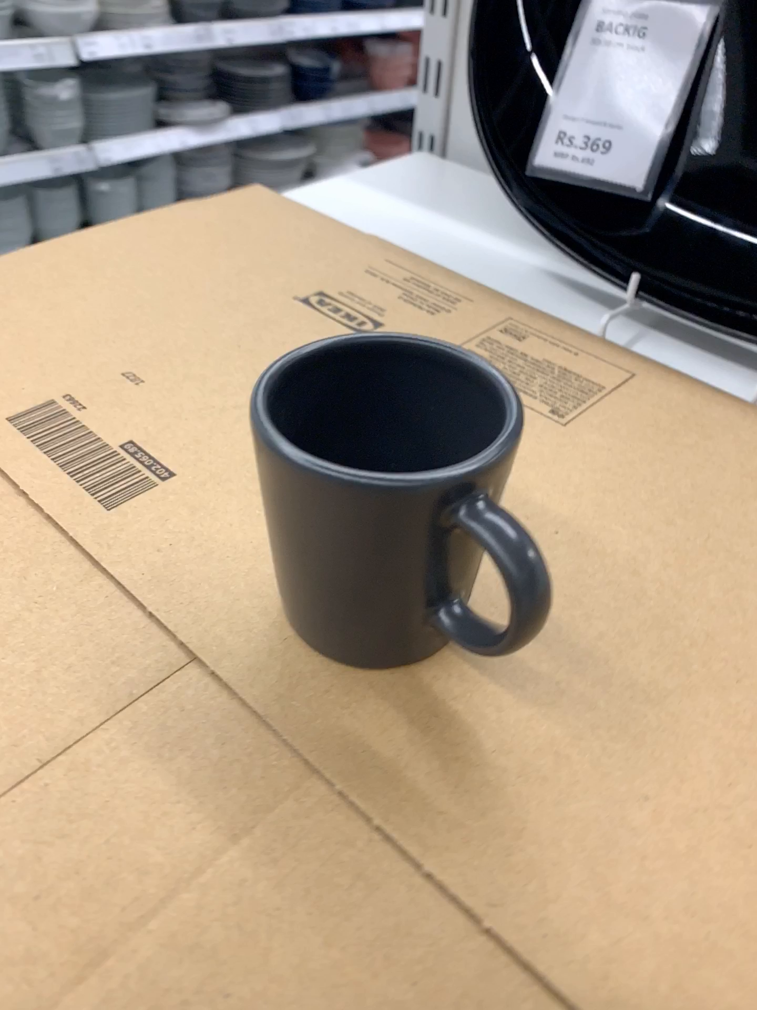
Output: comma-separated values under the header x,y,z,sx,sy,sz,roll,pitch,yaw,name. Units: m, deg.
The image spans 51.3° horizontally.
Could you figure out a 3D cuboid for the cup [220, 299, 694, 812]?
x,y,z,sx,sy,sz,roll,pitch,yaw,name
0.011,0.006,0.184,0.060,0.070,0.080,-23,48,-30,cup
